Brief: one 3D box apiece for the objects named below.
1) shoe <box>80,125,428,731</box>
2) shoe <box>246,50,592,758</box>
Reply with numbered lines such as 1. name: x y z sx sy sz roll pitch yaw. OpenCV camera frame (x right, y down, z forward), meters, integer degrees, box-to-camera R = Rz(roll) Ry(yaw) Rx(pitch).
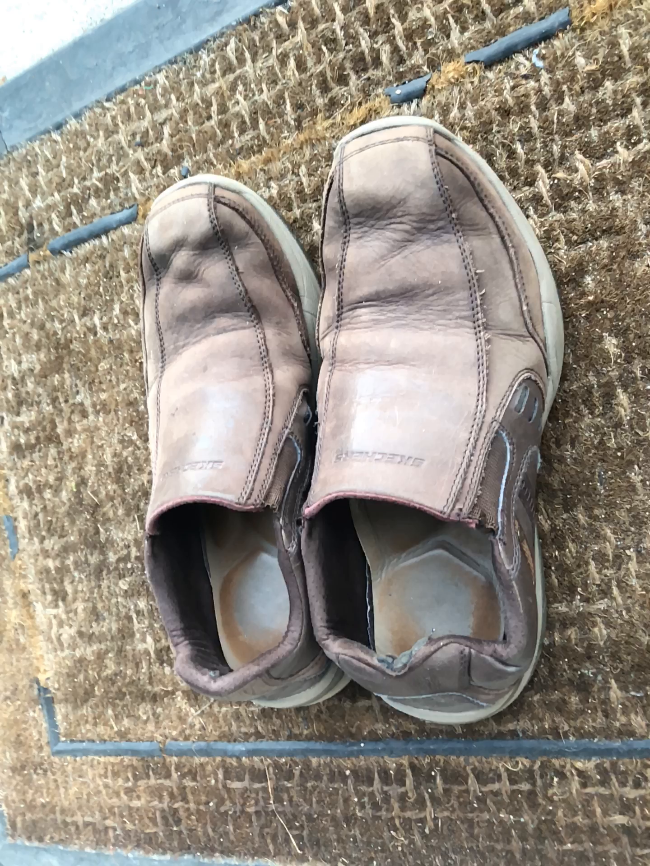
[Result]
1. shoe: -0.031 0.002 0.378 0.100 0.100 0.267 -9 93 26
2. shoe: 0.050 -0.008 0.322 0.100 0.100 0.254 -5 94 26
